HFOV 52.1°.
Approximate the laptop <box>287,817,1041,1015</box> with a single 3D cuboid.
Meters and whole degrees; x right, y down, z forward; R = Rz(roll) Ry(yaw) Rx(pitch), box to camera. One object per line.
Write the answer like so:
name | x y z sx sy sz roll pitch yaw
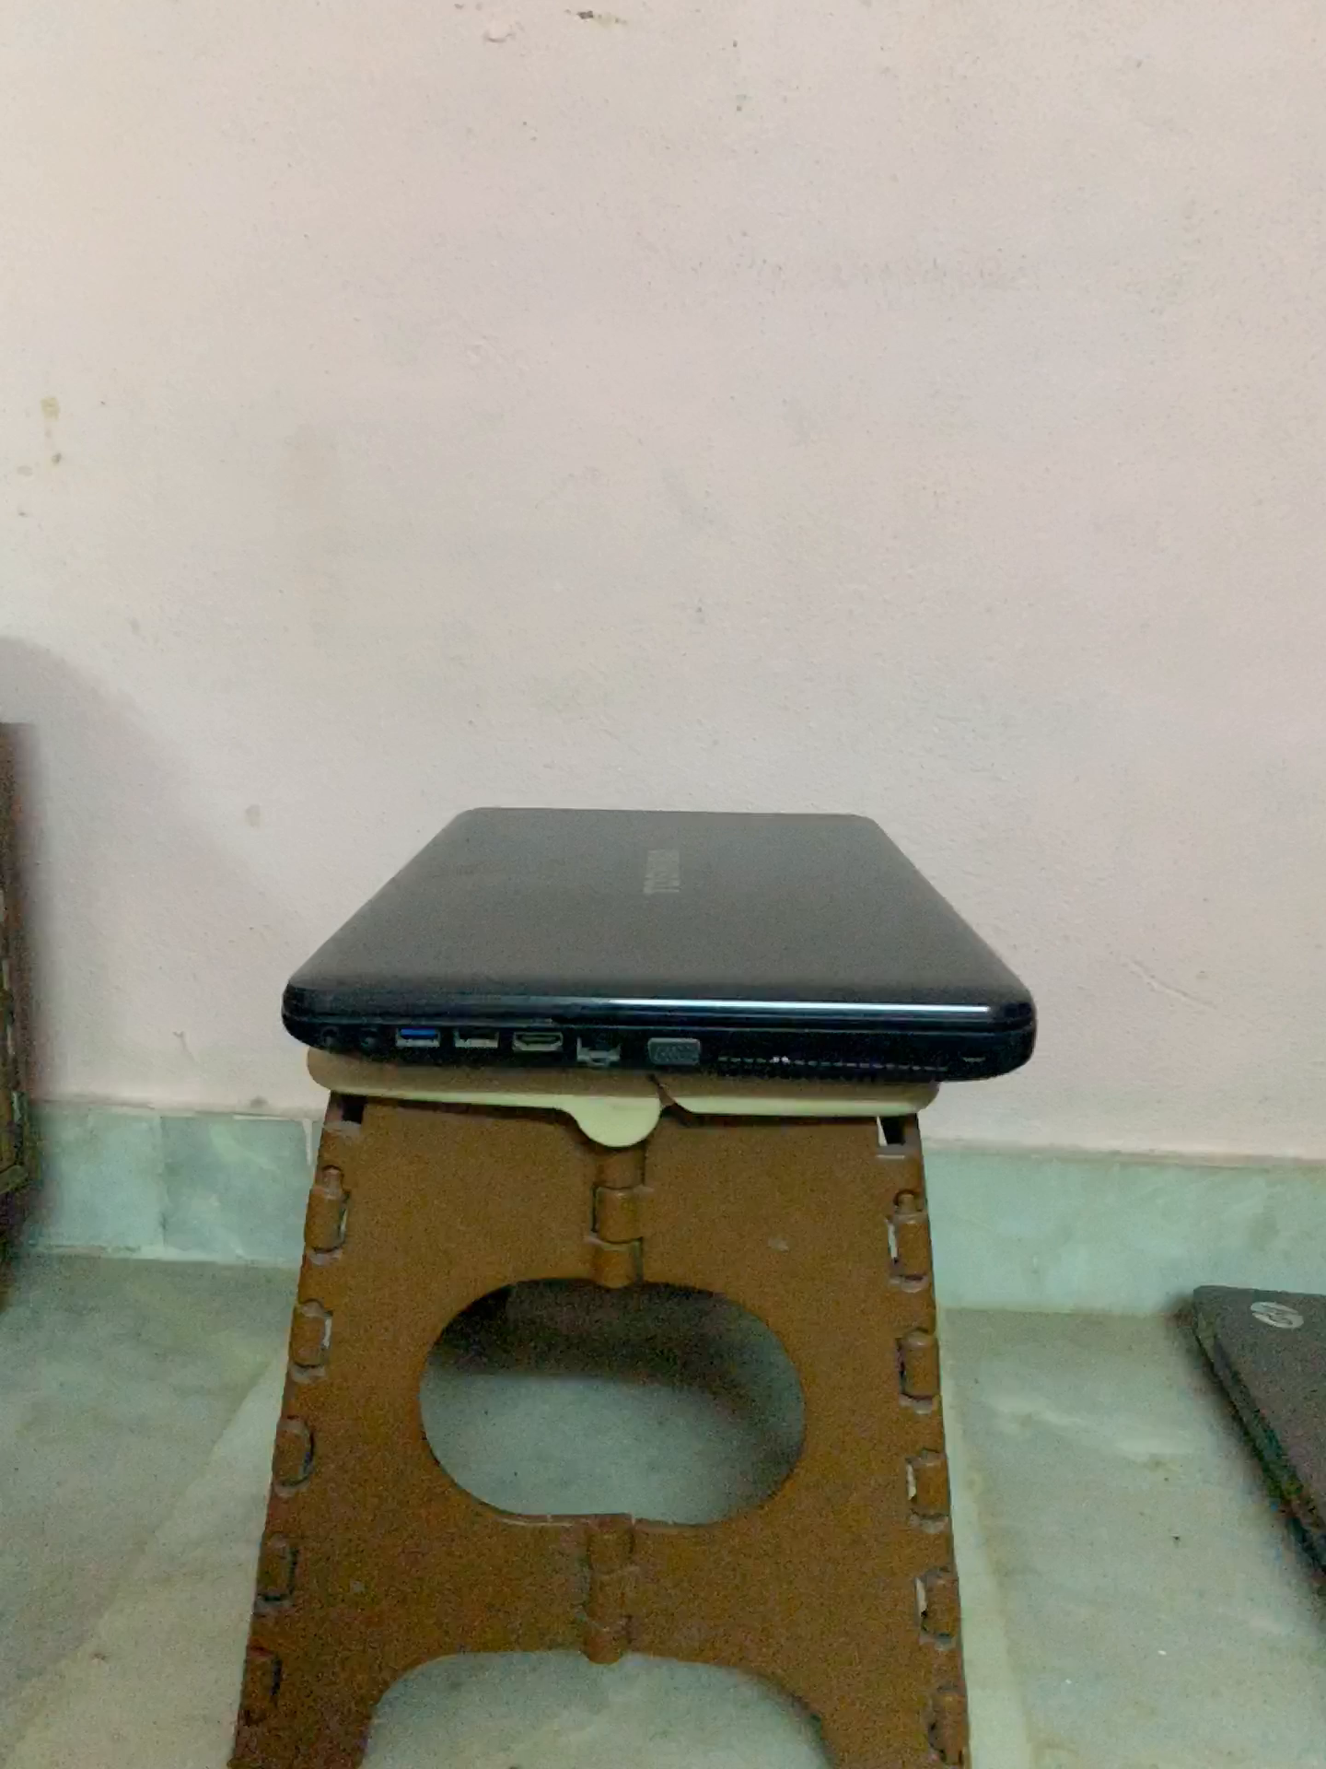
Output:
laptop | 0.001 0.001 0.605 0.236 0.001 0.369 1 11 0
